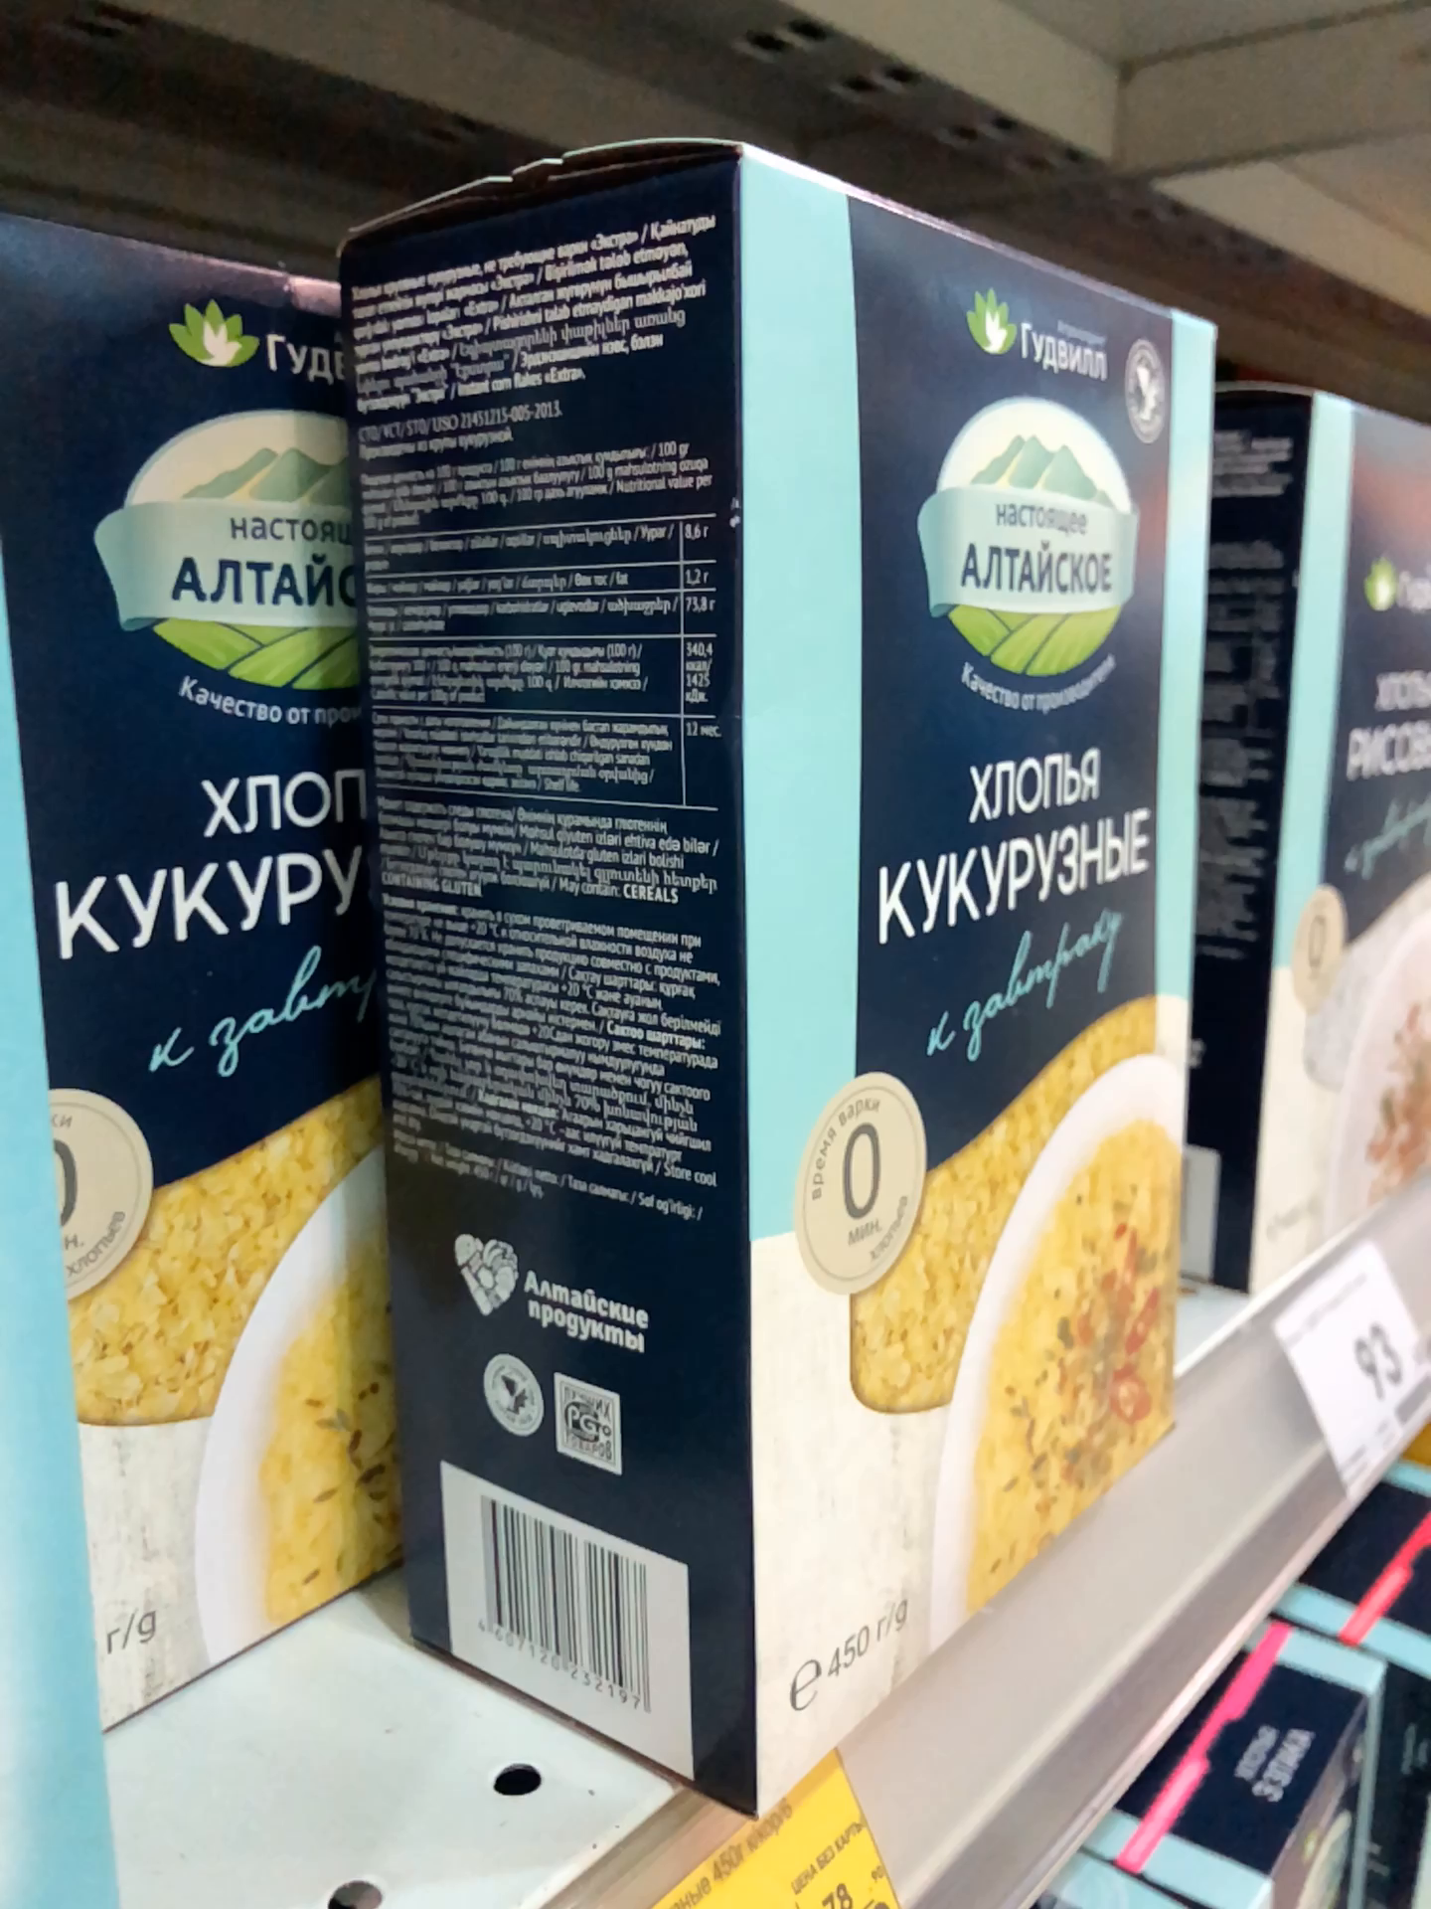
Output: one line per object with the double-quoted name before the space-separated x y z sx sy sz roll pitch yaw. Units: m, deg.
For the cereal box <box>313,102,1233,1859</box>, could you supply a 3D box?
"cereal box" 0.021 -0.003 0.243 0.060 0.189 0.140 6 12 37
